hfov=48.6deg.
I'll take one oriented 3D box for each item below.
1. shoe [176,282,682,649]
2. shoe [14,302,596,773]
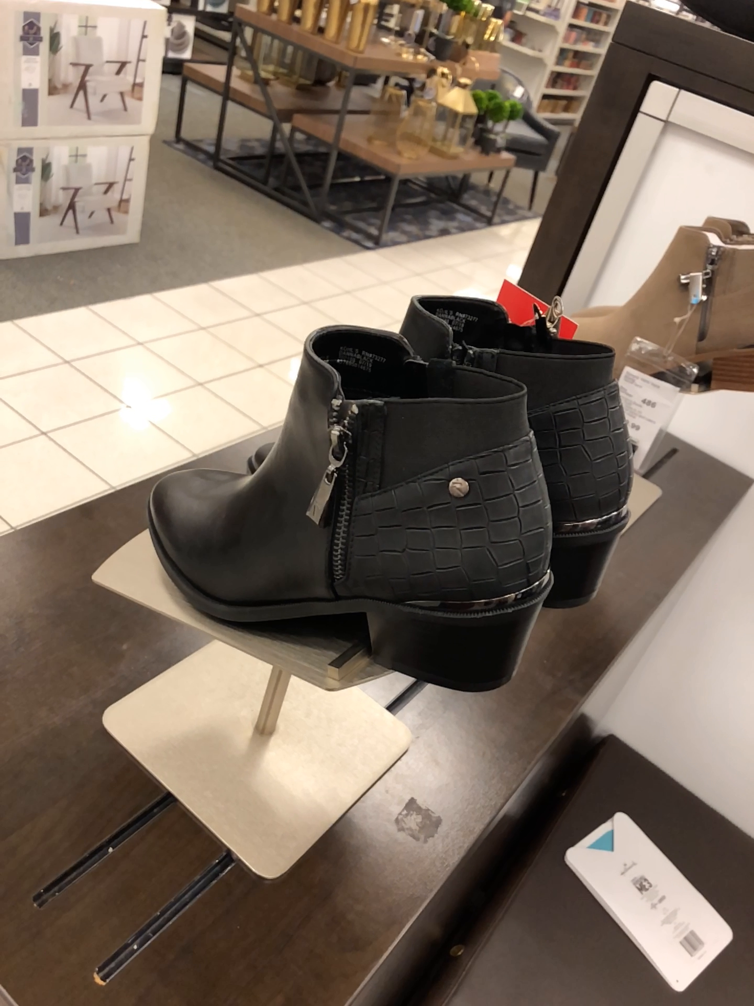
[{"bbox_3d":[0.016,-0.040,0.446,0.243,0.132,0.105,16,26,39],"label":"shoe"},{"bbox_3d":[-0.042,-0.010,0.375,0.243,0.132,0.105,16,26,39],"label":"shoe"}]
